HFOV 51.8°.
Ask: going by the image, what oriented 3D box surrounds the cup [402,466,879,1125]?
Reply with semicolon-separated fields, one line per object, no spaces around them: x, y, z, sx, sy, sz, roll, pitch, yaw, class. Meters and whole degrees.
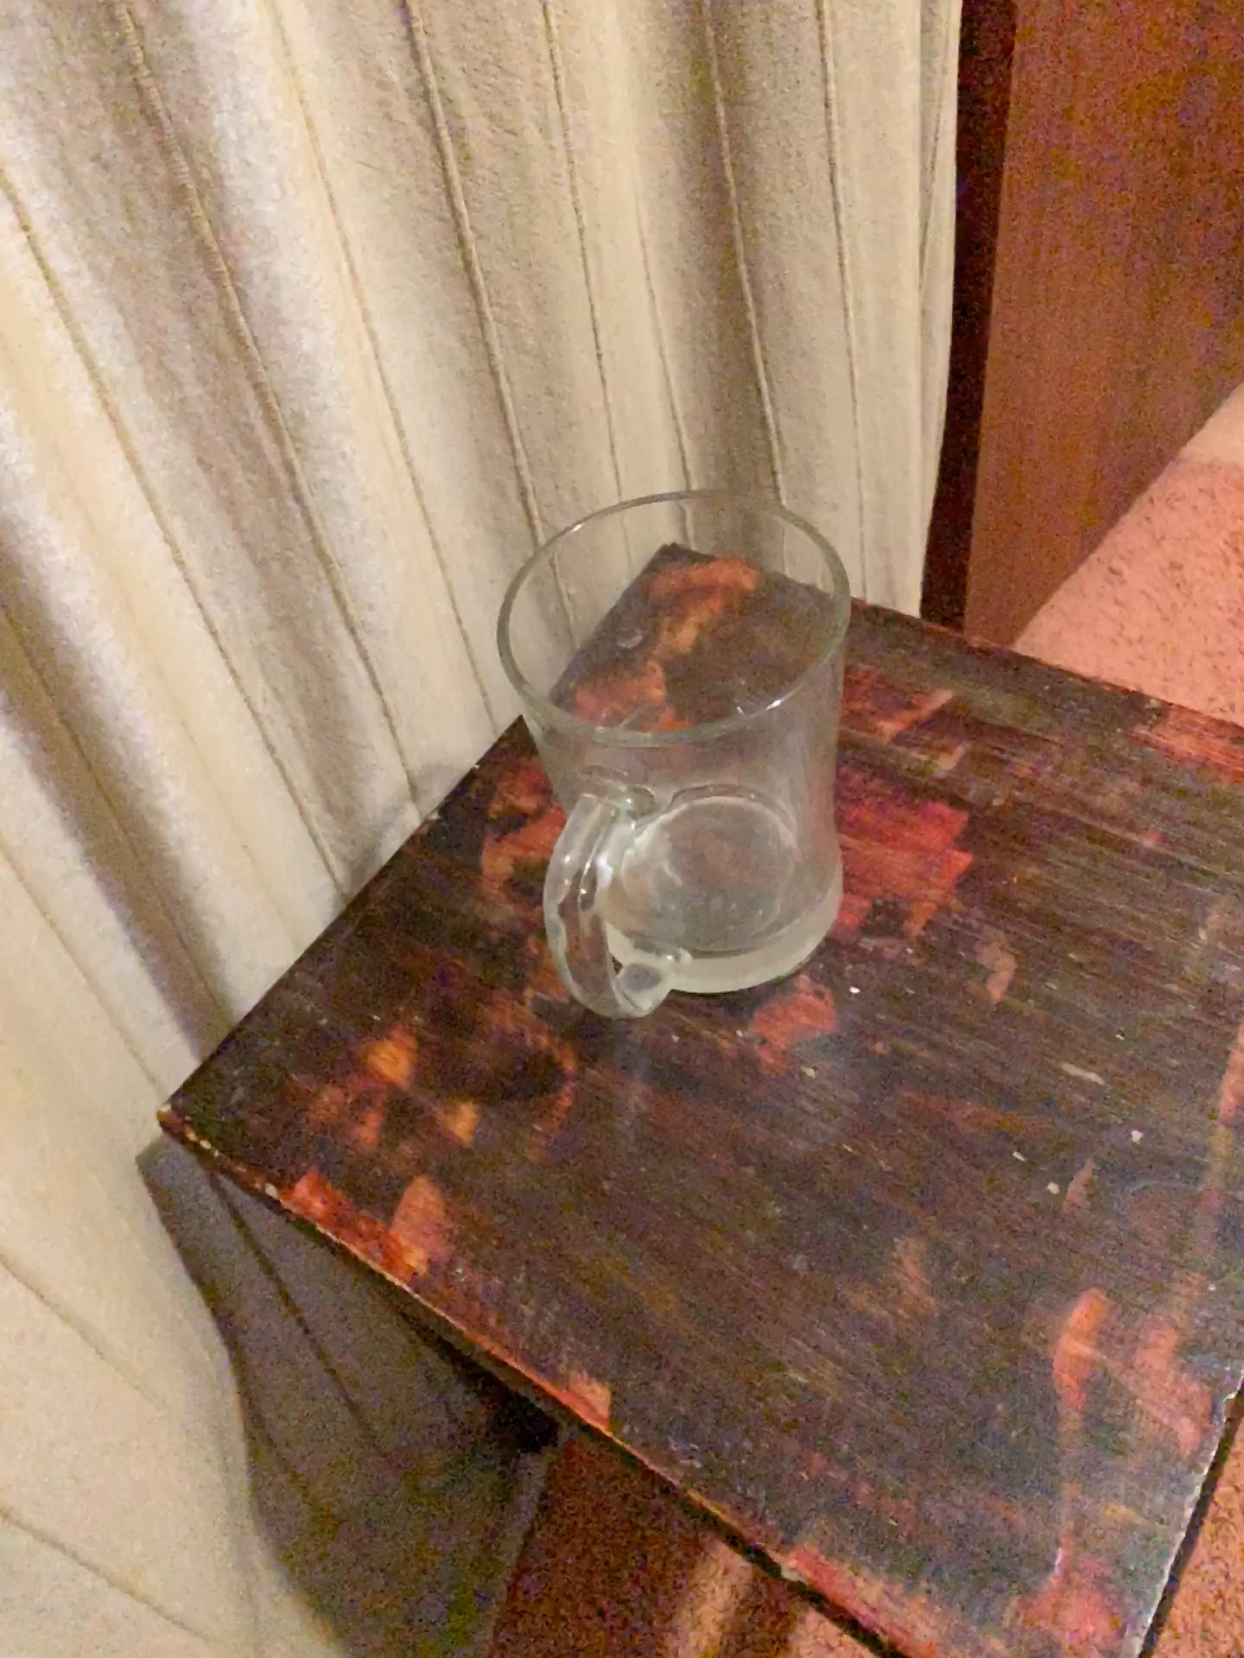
0.020;-0.012;0.399;0.100;0.135;0.143;6;51;15;cup
